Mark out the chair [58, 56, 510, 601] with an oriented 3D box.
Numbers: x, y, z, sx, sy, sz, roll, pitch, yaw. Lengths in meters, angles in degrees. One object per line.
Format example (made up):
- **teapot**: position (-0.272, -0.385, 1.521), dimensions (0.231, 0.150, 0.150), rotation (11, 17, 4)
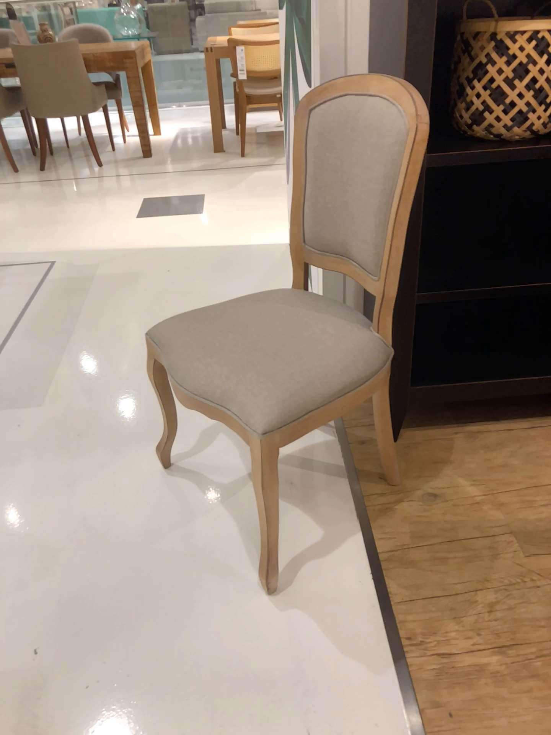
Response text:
- **chair**: position (0.007, -0.134, 1.292), dimensions (0.551, 0.873, 0.603), rotation (-23, 37, -27)
